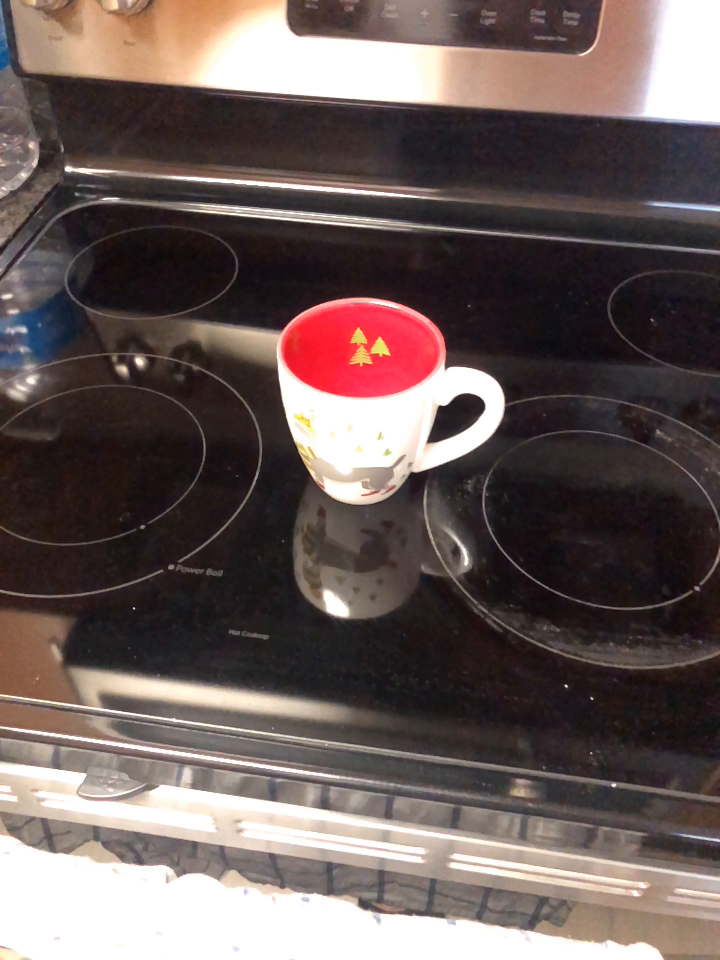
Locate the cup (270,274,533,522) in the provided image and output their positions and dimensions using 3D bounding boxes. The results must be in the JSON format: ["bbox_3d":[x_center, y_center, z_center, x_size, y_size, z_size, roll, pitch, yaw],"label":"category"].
[{"bbox_3d":[0.026,-0.051,0.494,0.140,0.100,0.100,6,47,4],"label":"cup"}]
